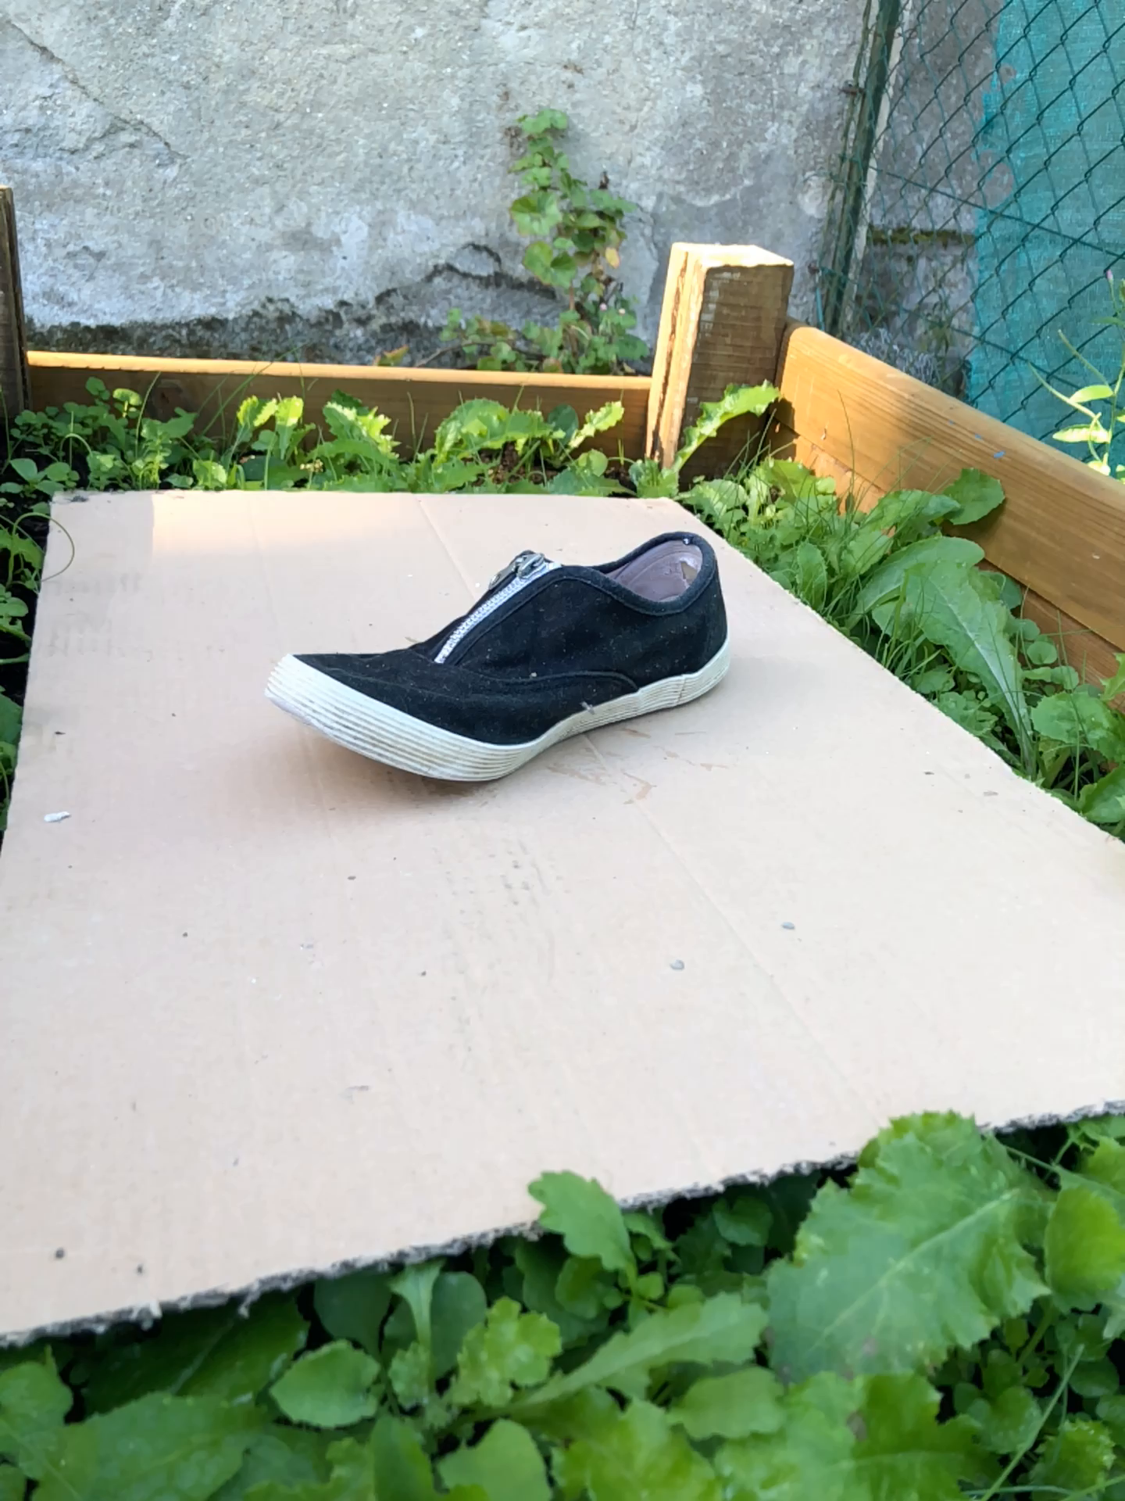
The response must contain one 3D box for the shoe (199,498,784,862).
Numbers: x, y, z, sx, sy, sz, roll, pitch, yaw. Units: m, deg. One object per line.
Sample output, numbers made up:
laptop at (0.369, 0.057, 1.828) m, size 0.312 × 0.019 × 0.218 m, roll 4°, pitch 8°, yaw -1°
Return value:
shoe at (-0.023, -0.044, 0.545) m, size 0.241 × 0.070 × 0.100 m, roll -21°, pitch 38°, yaw -37°
